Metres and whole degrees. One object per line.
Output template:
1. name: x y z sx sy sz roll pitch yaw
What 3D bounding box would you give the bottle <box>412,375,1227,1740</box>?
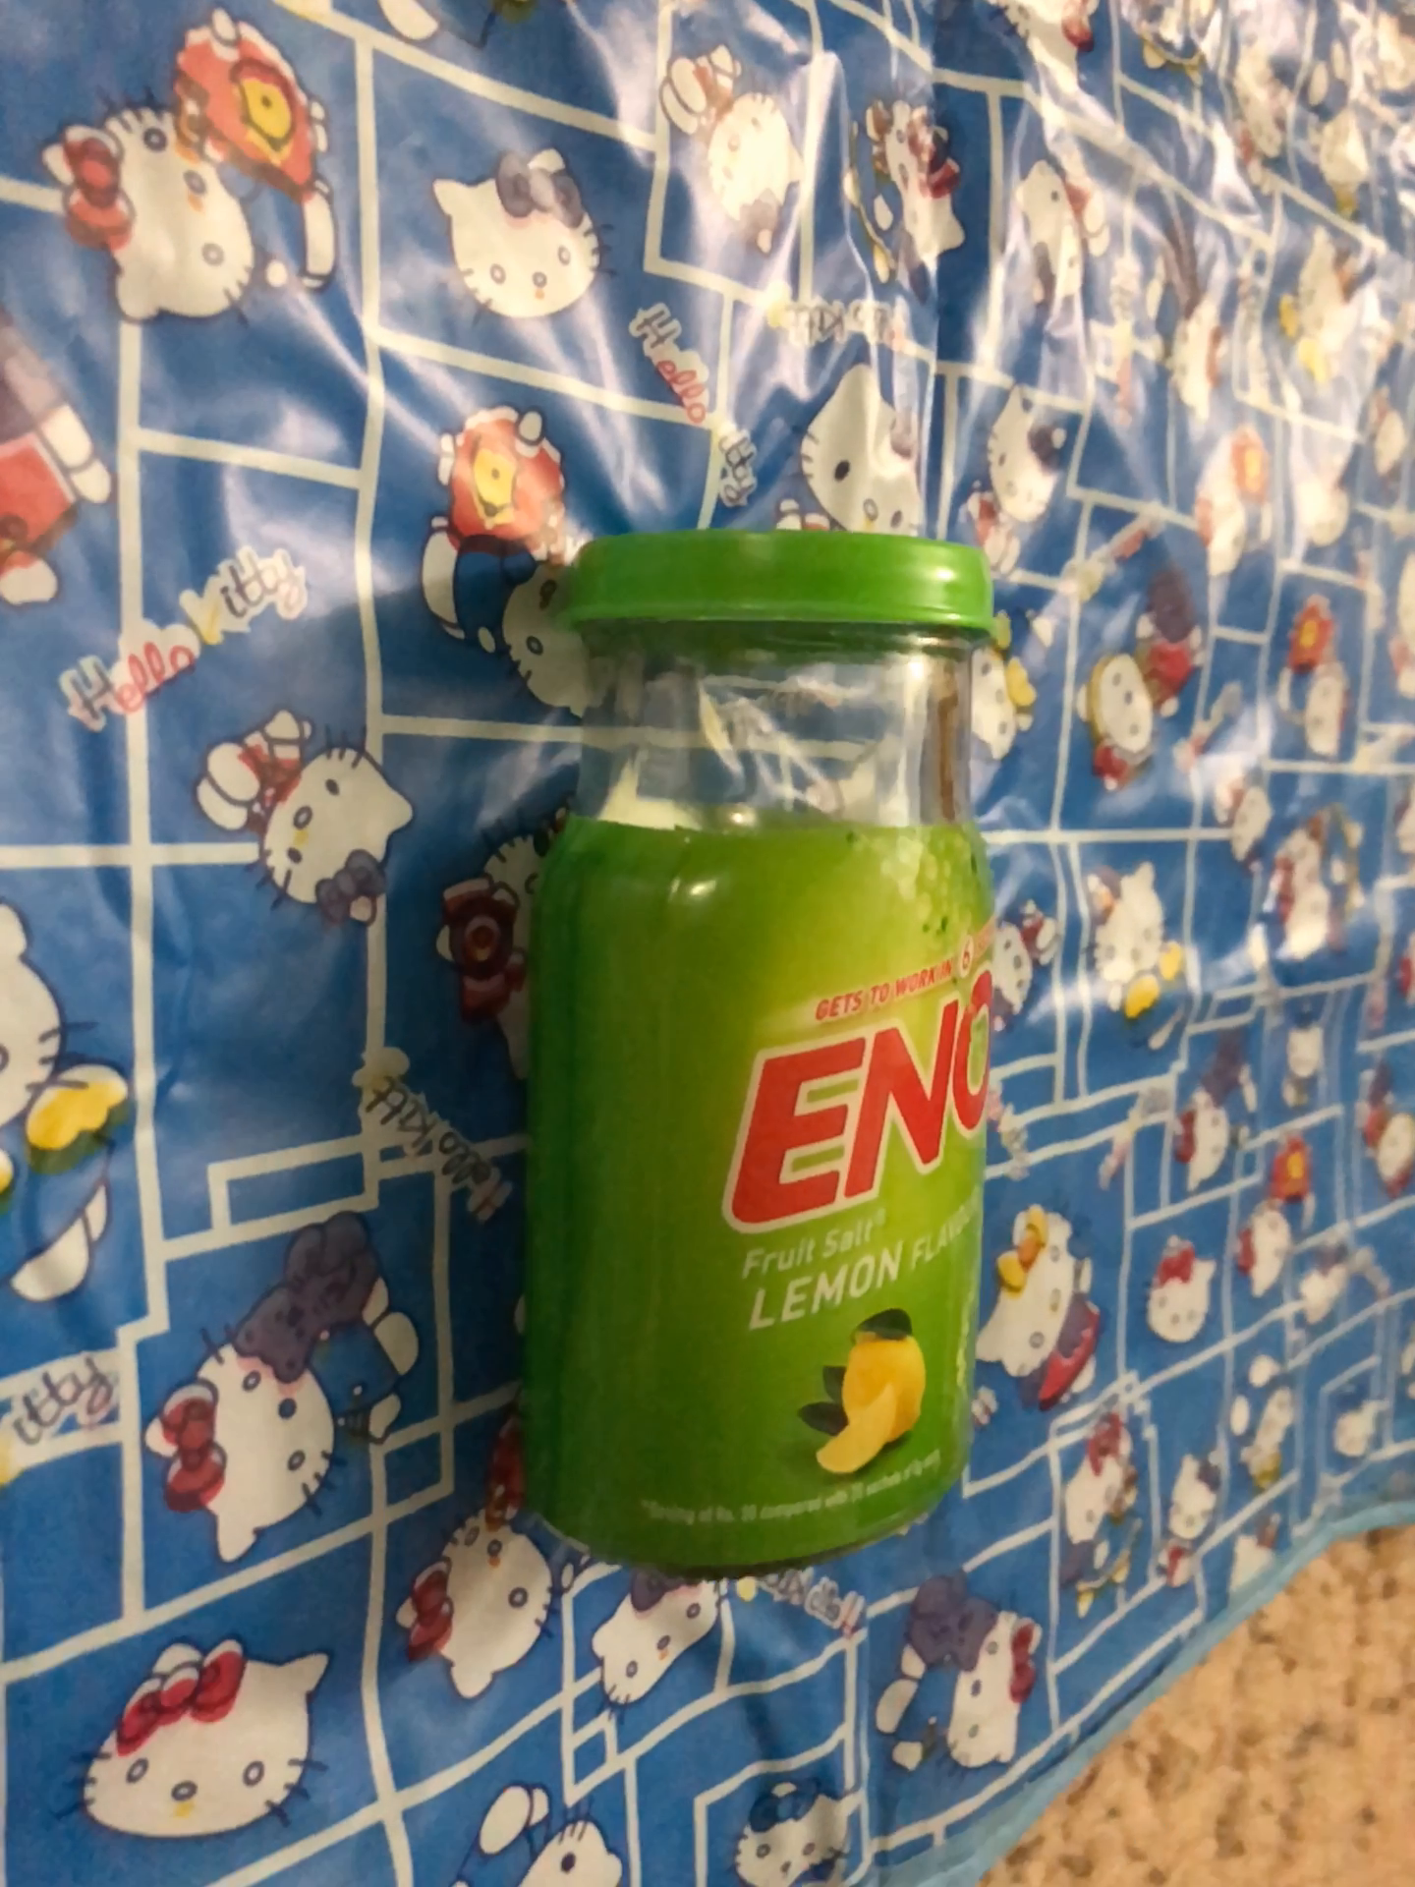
1. bottle: 0.010 0.007 0.164 0.060 0.050 0.110 -7 104 -46
